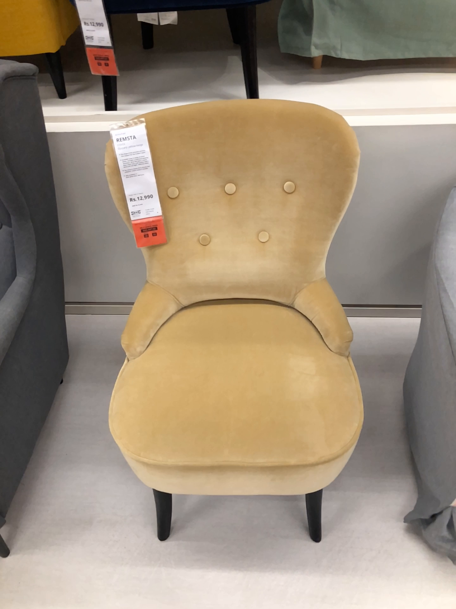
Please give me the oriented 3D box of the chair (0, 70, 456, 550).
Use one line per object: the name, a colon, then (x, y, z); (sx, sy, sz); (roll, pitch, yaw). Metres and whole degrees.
chair: (0.006, 0.061, 1.123); (0.580, 0.865, 0.644); (-1, 47, 4)
